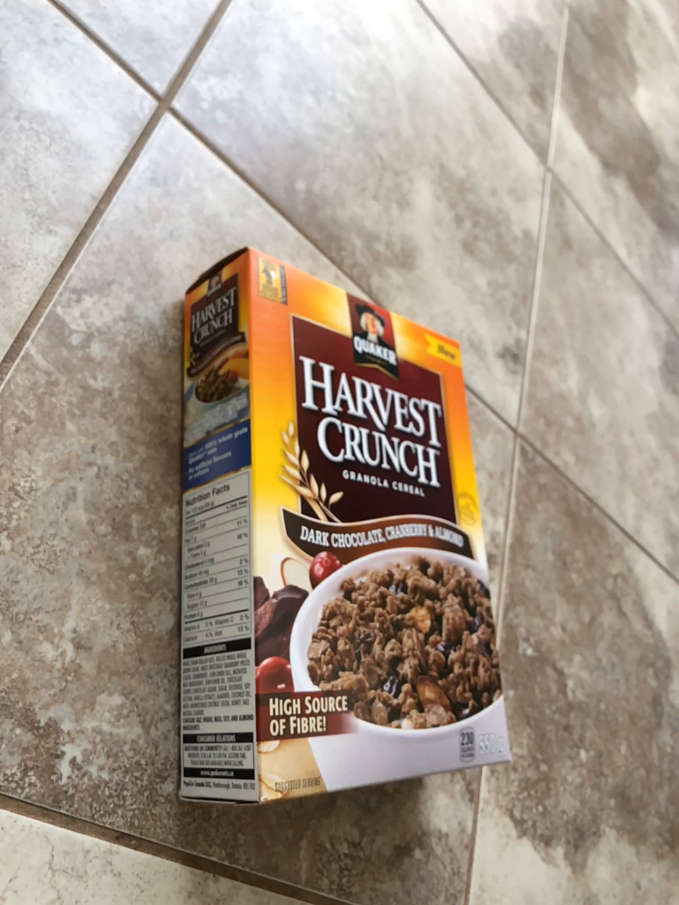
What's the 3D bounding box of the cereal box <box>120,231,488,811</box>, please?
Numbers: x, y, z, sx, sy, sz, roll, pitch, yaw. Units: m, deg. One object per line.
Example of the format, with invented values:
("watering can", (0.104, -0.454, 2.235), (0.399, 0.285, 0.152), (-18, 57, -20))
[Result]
("cereal box", (-0.016, 0.038, 0.401), (0.171, 0.070, 0.250), (14, 64, -42))
